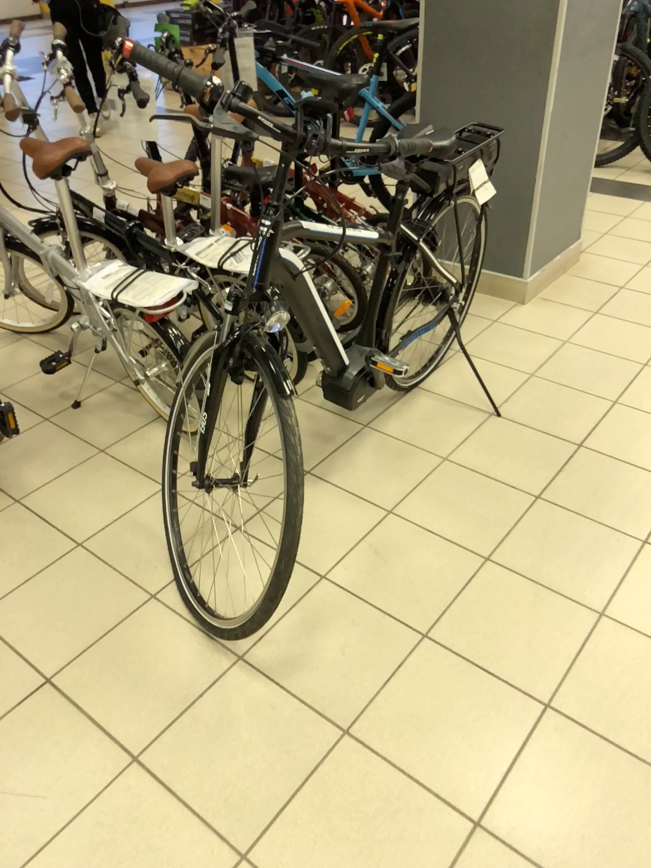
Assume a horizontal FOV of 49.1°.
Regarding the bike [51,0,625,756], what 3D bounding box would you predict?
[{"bbox_3d":[0.222,-0.363,1.877,0.697,1.176,1.619,13,39,21],"label":"bike"}]
